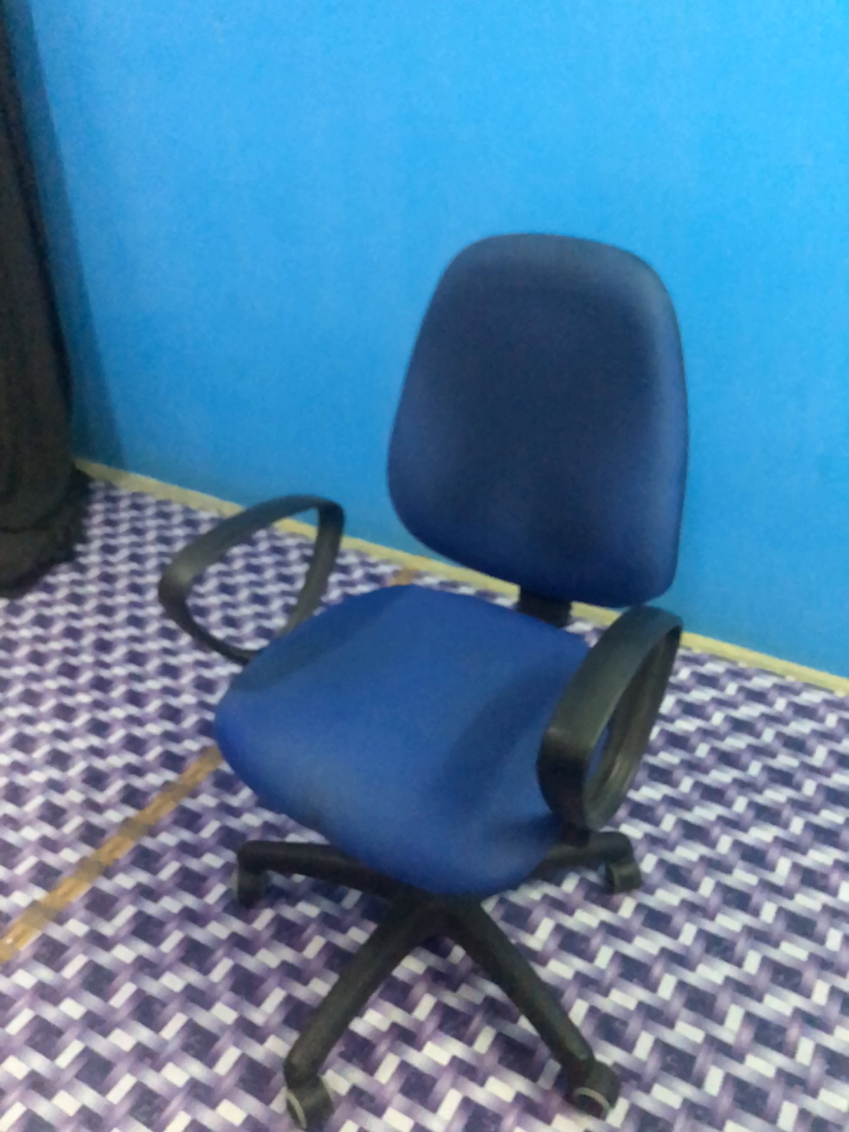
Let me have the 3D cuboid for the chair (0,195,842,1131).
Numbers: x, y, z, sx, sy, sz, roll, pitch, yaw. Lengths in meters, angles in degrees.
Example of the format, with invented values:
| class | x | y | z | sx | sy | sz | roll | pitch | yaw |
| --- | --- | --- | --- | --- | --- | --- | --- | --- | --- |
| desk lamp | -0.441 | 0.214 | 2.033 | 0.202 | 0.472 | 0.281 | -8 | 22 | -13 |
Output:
| class | x | y | z | sx | sy | sz | roll | pitch | yaw |
| --- | --- | --- | --- | --- | --- | --- | --- | --- | --- |
| chair | -0.043 | 0.122 | 1.108 | 0.700 | 0.875 | 0.673 | 17 | 36 | 26 |
